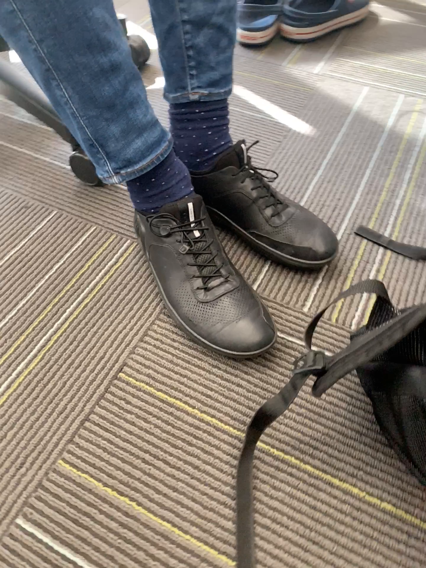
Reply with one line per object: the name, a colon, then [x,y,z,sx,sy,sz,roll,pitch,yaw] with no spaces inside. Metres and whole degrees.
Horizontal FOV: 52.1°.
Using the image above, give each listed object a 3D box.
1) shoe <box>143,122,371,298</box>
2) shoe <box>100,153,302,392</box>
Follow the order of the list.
shoe: [0.054,-0.120,0.651,0.311,0.100,0.110,31,58,22]
shoe: [-0.030,-0.031,0.574,0.110,0.100,0.311,-25,56,-18]
